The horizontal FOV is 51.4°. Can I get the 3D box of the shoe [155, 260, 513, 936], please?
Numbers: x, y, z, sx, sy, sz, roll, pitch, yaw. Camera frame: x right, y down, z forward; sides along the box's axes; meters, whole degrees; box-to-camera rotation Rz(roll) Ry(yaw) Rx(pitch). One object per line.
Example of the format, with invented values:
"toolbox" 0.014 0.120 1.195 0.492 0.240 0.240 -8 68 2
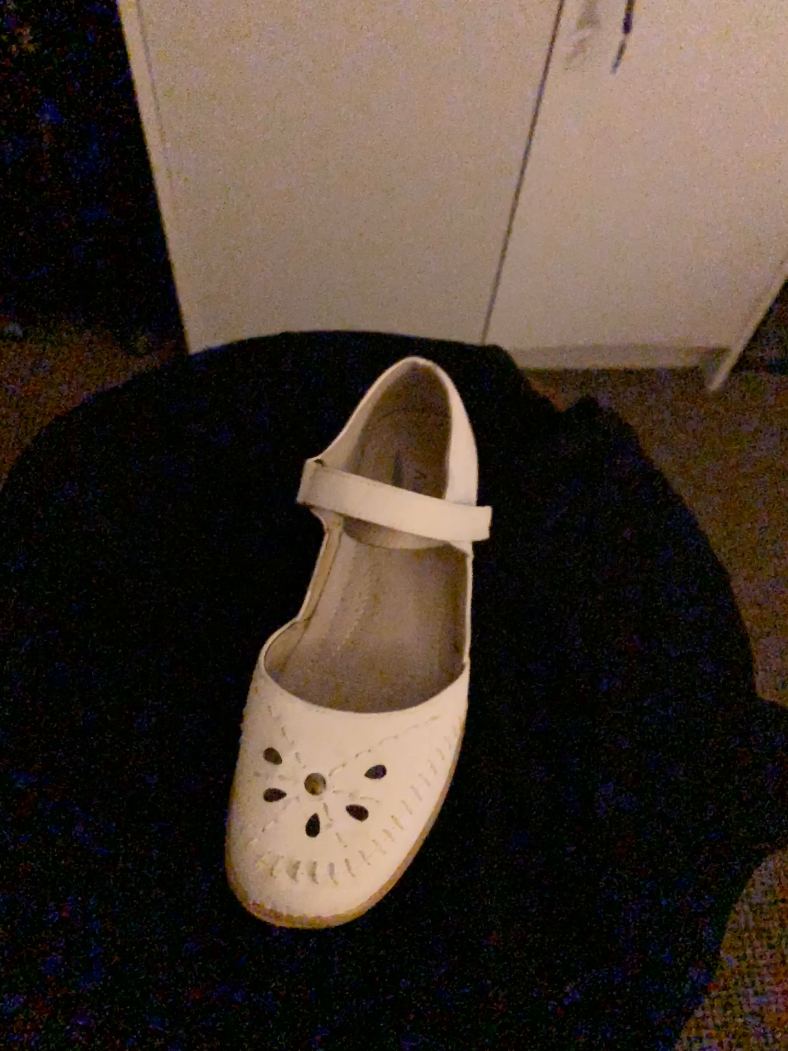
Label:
"shoe" -0.011 0.019 0.361 0.097 0.099 0.272 8 57 1
